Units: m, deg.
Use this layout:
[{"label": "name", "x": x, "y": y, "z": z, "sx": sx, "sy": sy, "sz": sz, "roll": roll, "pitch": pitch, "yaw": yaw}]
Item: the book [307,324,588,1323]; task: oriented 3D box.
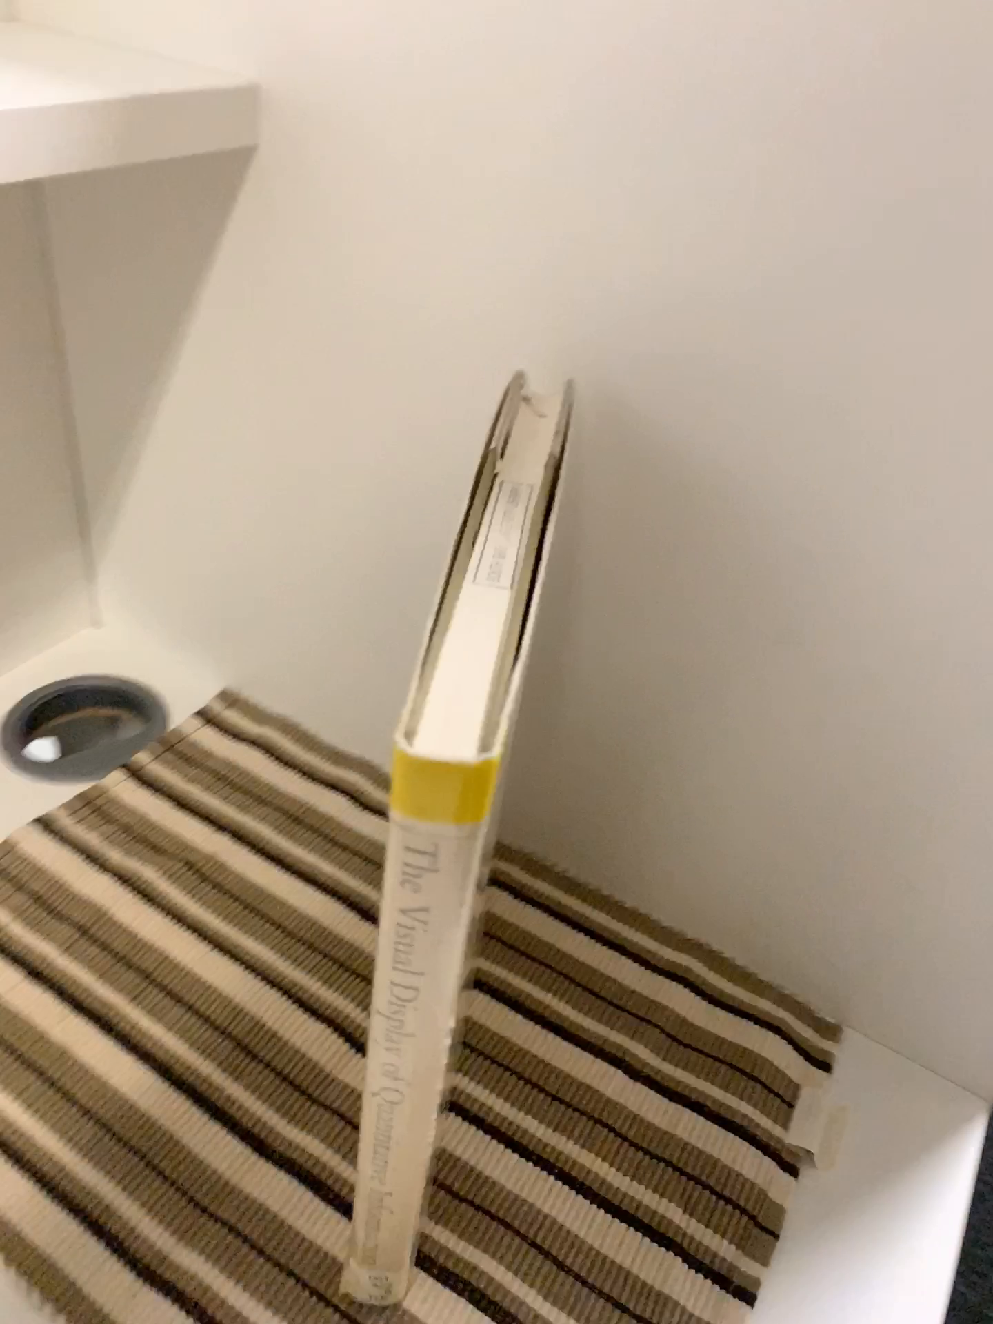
[{"label": "book", "x": -0.016, "y": 0.058, "z": 0.386, "sx": 0.040, "sy": 0.287, "sz": 0.252, "roll": 9, "pitch": 37, "yaw": 3}]
